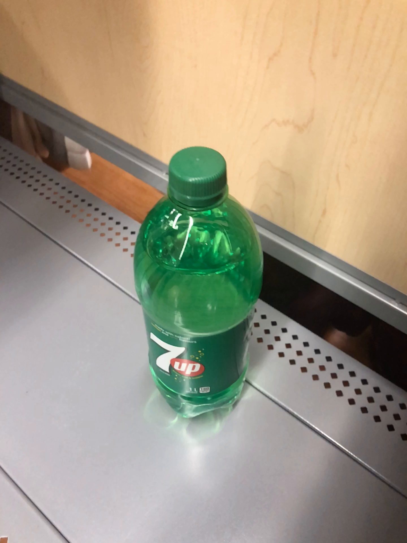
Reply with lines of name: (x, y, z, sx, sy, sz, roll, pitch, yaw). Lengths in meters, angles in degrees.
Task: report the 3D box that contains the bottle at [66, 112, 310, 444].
bottle: (-0.006, 0.025, 0.325, 0.100, 0.239, 0.080, 21, 54, 16)
